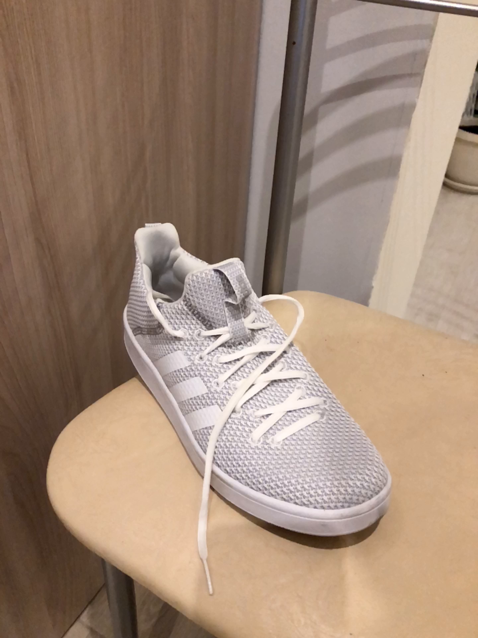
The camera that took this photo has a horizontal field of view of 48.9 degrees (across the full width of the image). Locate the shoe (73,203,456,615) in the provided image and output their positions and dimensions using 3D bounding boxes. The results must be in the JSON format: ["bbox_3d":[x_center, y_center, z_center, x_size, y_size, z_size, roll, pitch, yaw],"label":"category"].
[{"bbox_3d":[-0.011,0.036,0.408,0.110,0.129,0.301,-20,42,-30],"label":"shoe"}]
